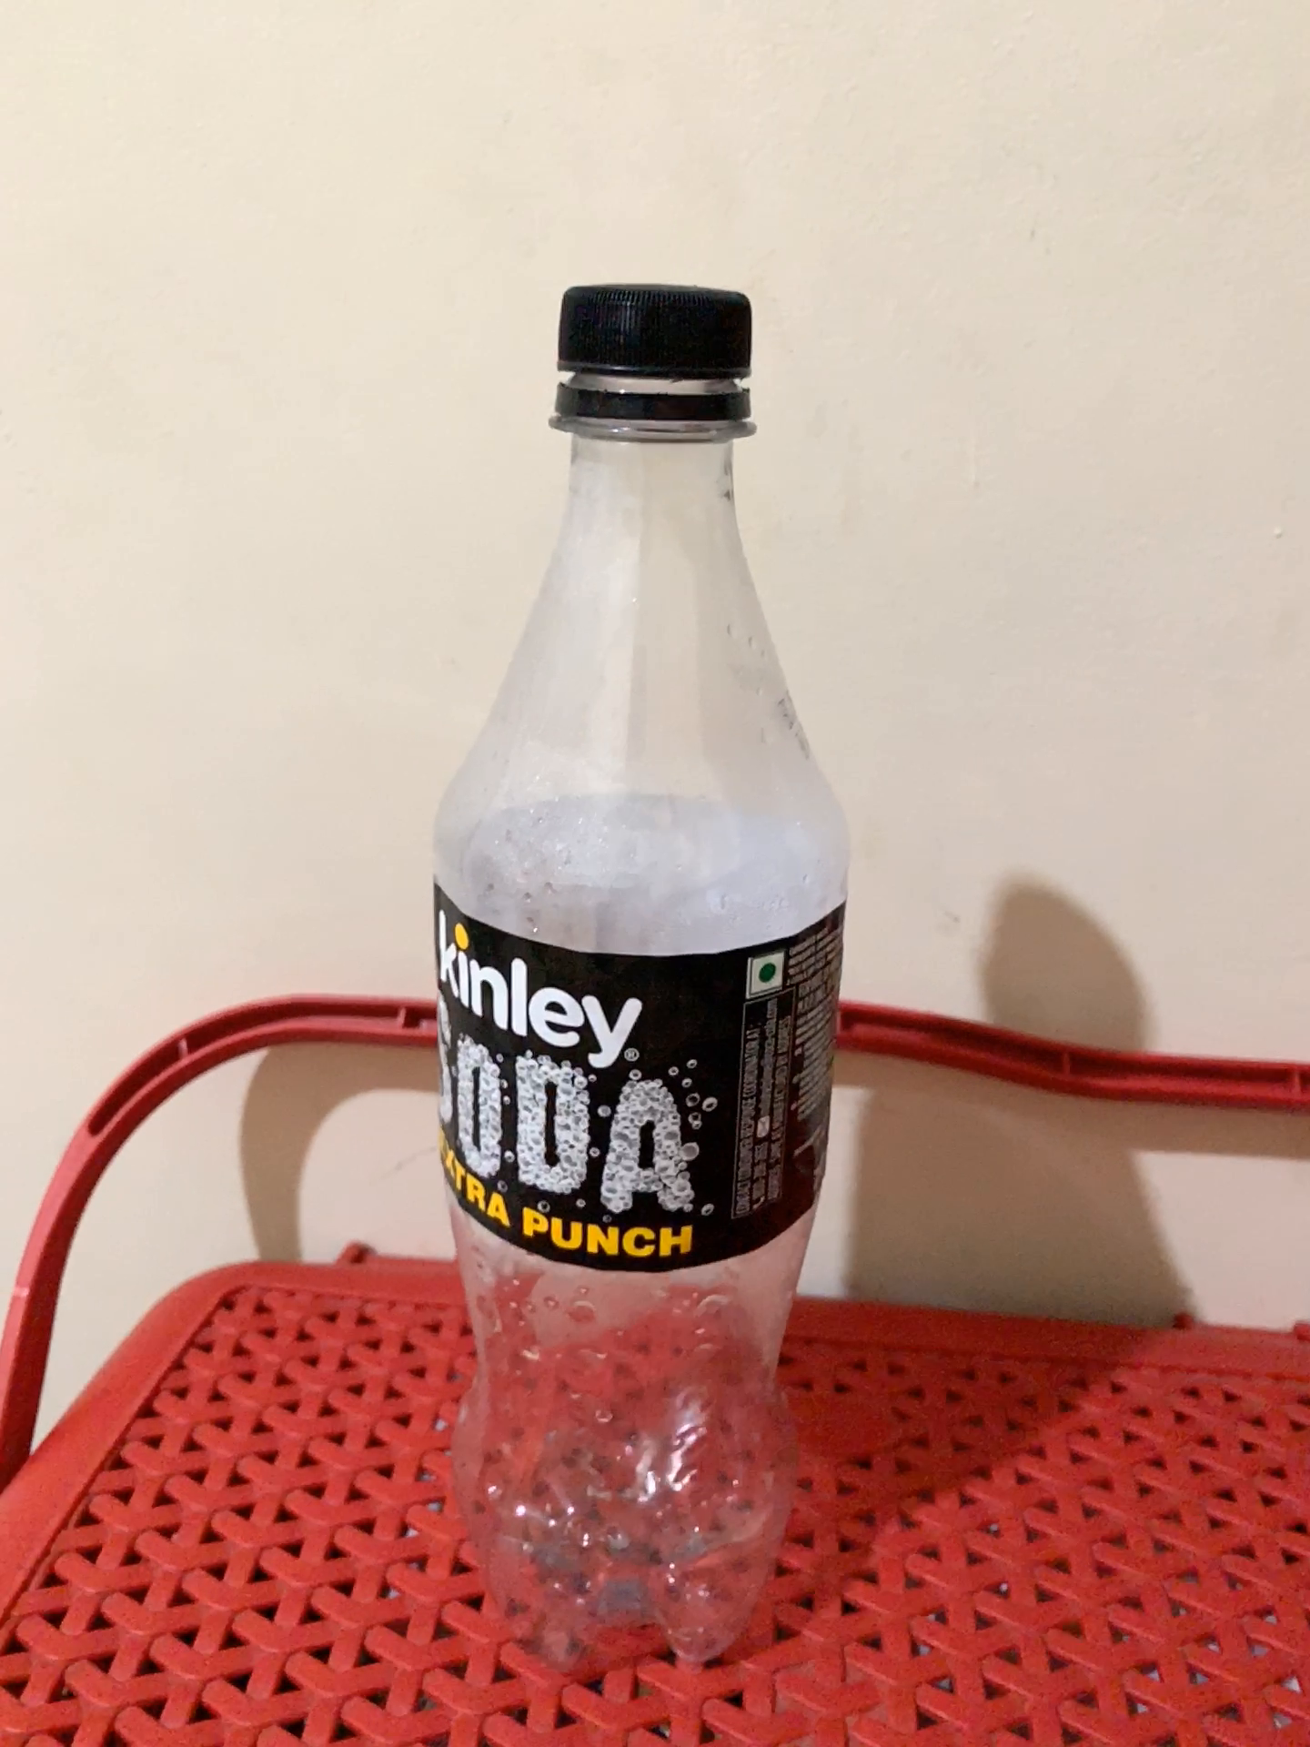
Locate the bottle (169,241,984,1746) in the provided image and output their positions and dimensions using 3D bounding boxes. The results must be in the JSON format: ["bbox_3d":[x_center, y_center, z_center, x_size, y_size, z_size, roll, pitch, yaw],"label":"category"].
[{"bbox_3d":[-0.011,0.022,0.227,0.080,0.228,0.070,17,29,31],"label":"bottle"}]
